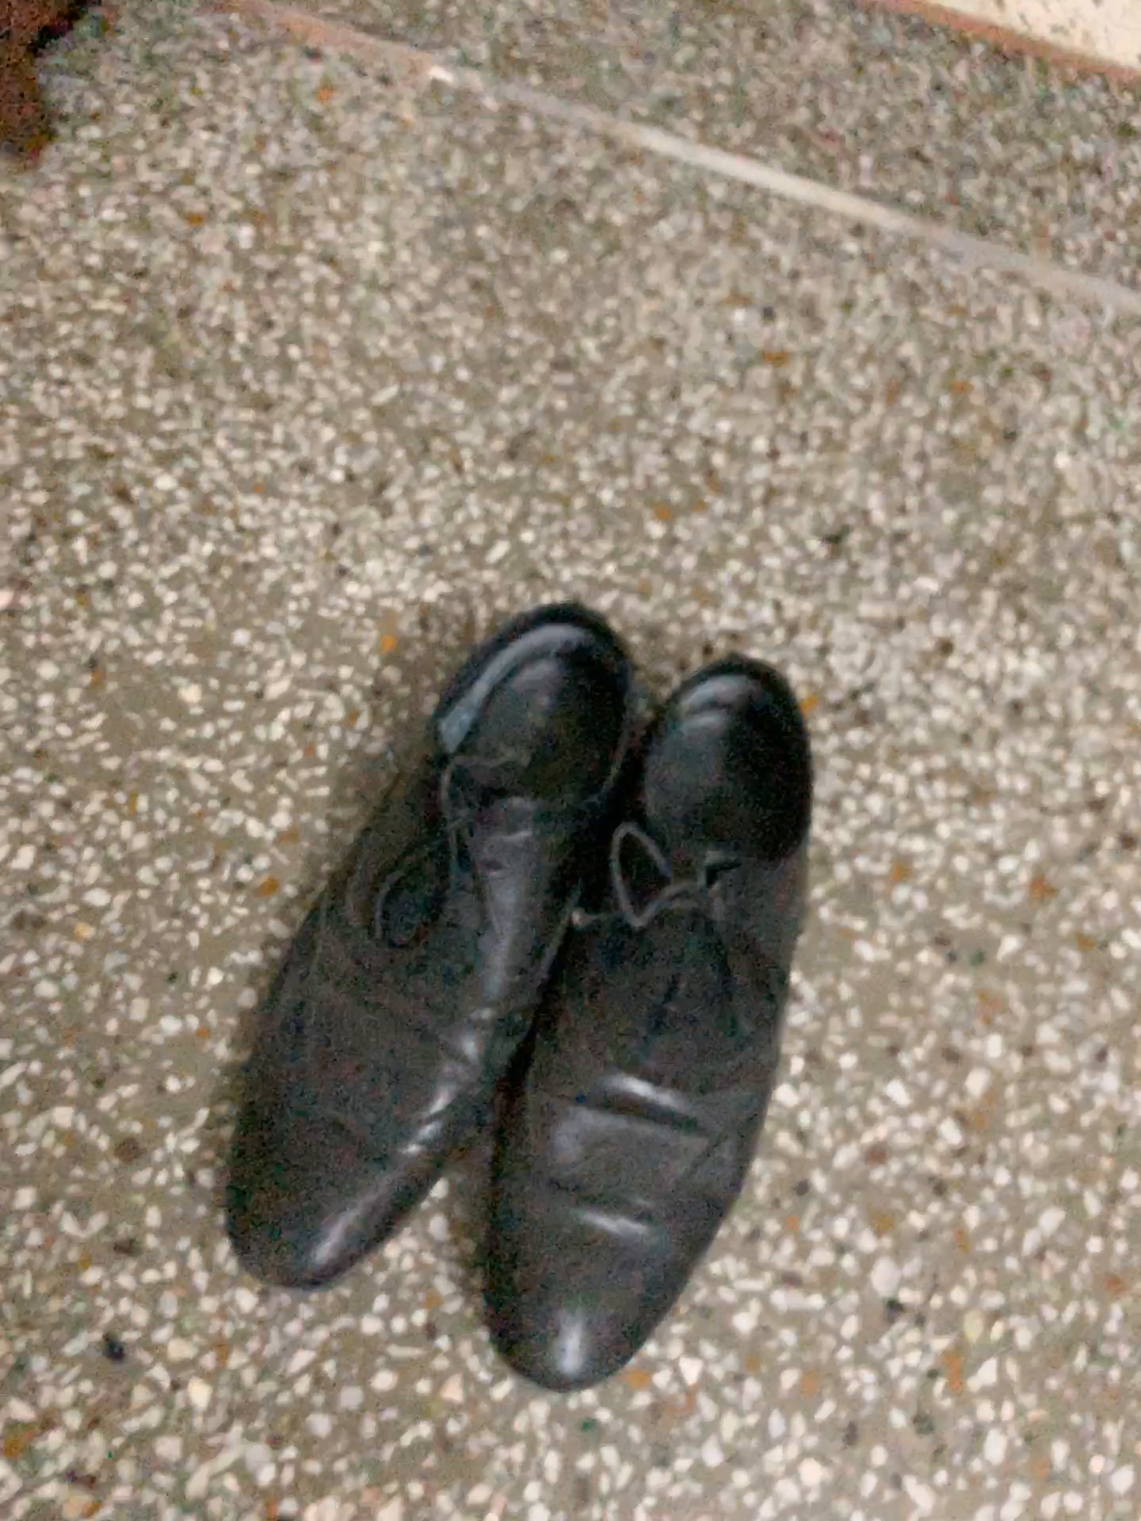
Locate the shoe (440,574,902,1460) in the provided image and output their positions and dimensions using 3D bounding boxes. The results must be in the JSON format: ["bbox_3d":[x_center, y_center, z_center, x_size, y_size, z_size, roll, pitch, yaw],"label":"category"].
[{"bbox_3d":[0.047,0.091,0.494,0.100,0.100,0.319,16,64,3],"label":"shoe"}]

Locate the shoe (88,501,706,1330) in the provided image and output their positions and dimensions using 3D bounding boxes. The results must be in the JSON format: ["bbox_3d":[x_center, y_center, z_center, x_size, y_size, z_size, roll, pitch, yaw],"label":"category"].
[{"bbox_3d":[-0.055,0.056,0.503,0.100,0.100,0.319,23,65,7],"label":"shoe"}]
